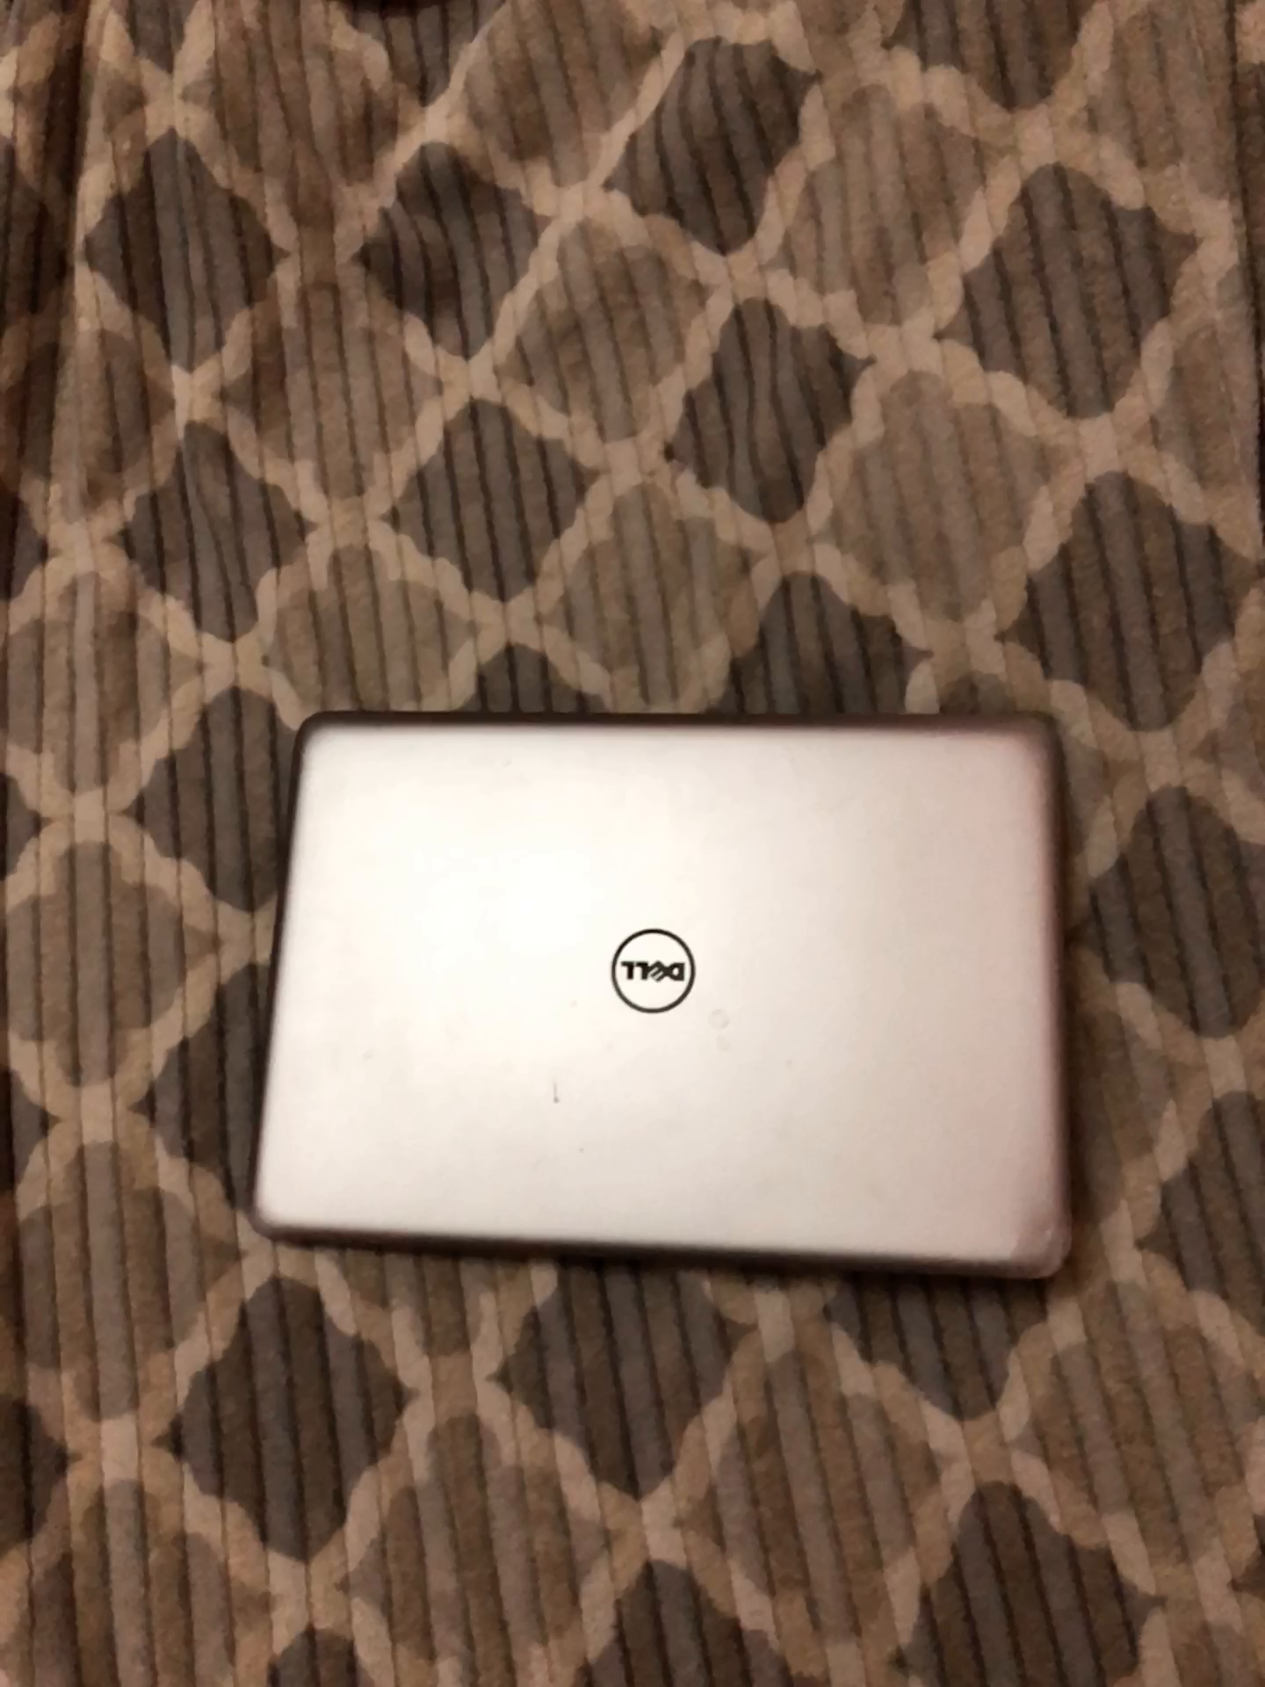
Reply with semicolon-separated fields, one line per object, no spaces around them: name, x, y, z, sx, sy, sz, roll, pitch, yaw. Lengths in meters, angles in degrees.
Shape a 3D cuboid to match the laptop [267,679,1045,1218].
laptop;0.010;0.042;0.671;0.359;0.007;0.251;1;78;7
